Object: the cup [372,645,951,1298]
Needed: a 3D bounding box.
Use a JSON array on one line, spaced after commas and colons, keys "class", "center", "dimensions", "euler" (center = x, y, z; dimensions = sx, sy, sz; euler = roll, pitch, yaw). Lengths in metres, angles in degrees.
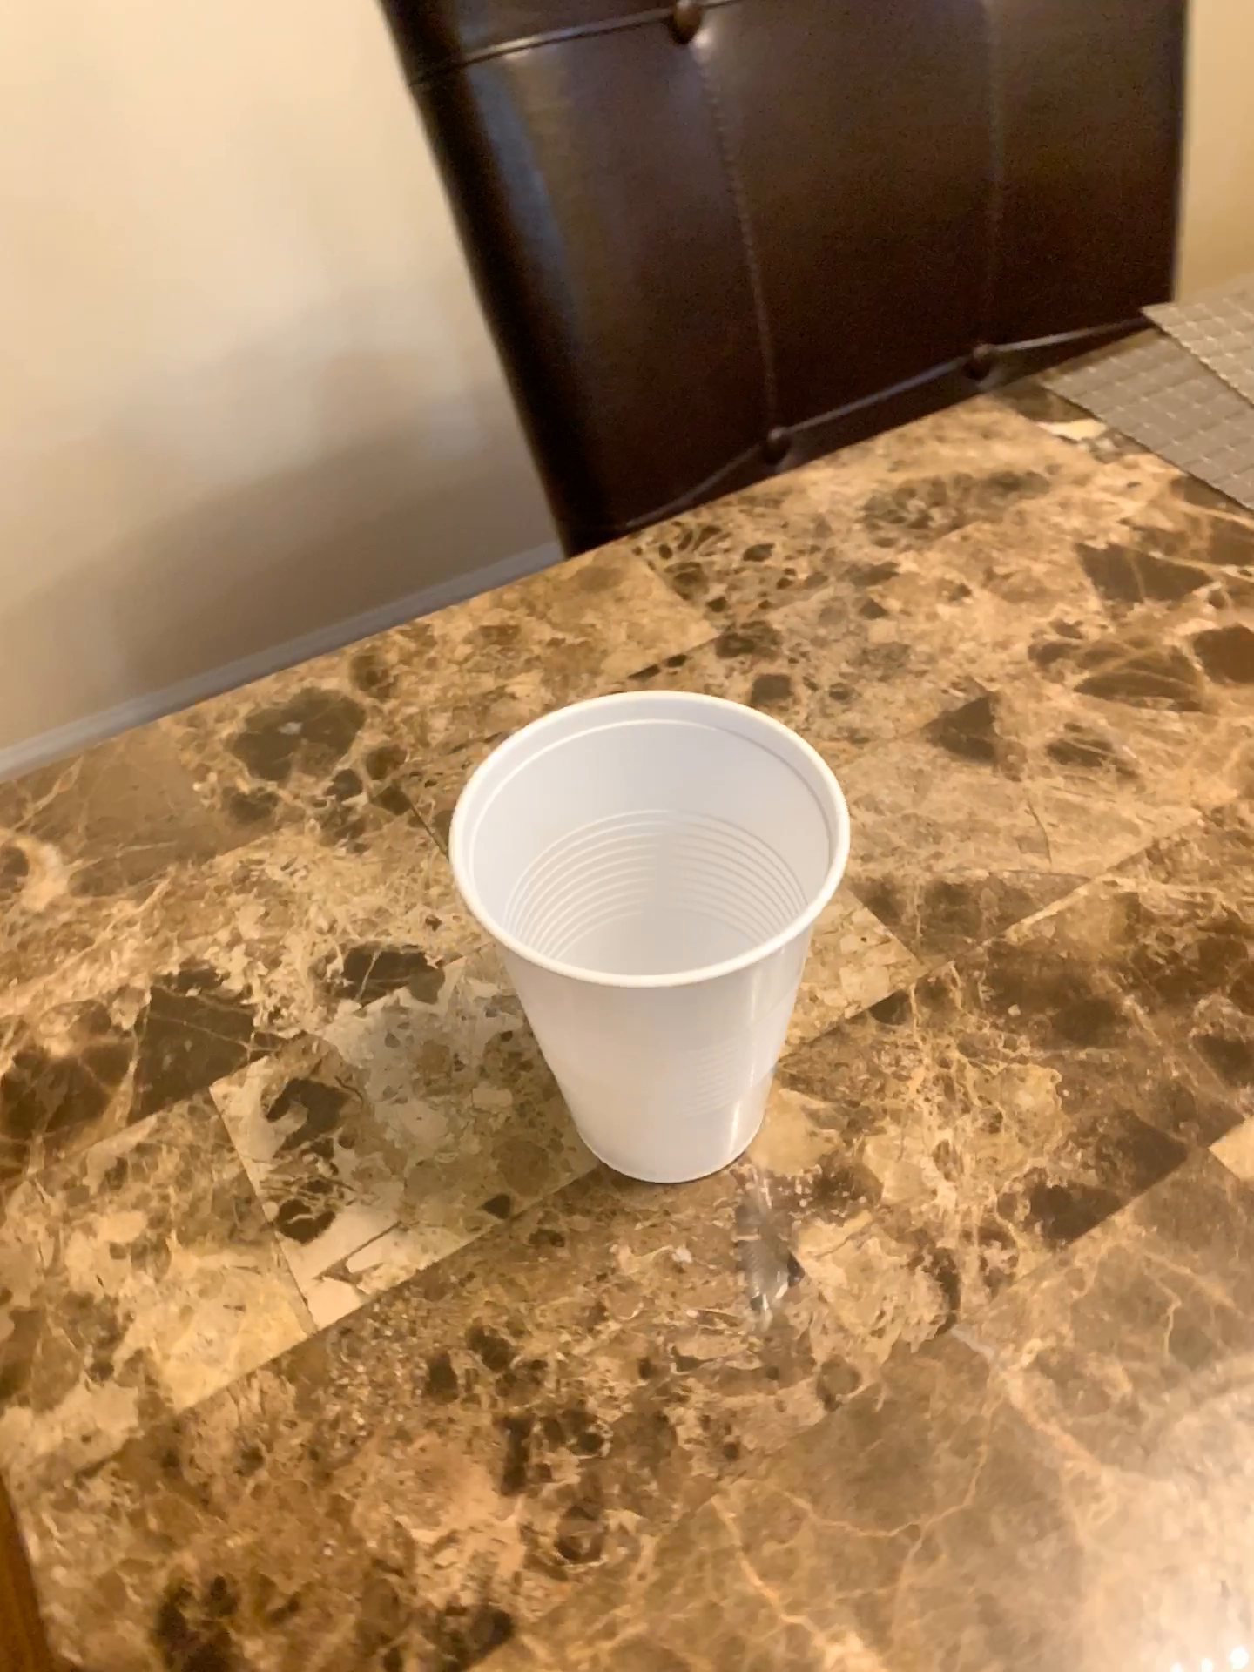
[{"class": "cup", "center": [0.007, 0.027, 0.279], "dimensions": [0.077, 0.083, 0.082], "euler": [-2, 47, 2]}]
